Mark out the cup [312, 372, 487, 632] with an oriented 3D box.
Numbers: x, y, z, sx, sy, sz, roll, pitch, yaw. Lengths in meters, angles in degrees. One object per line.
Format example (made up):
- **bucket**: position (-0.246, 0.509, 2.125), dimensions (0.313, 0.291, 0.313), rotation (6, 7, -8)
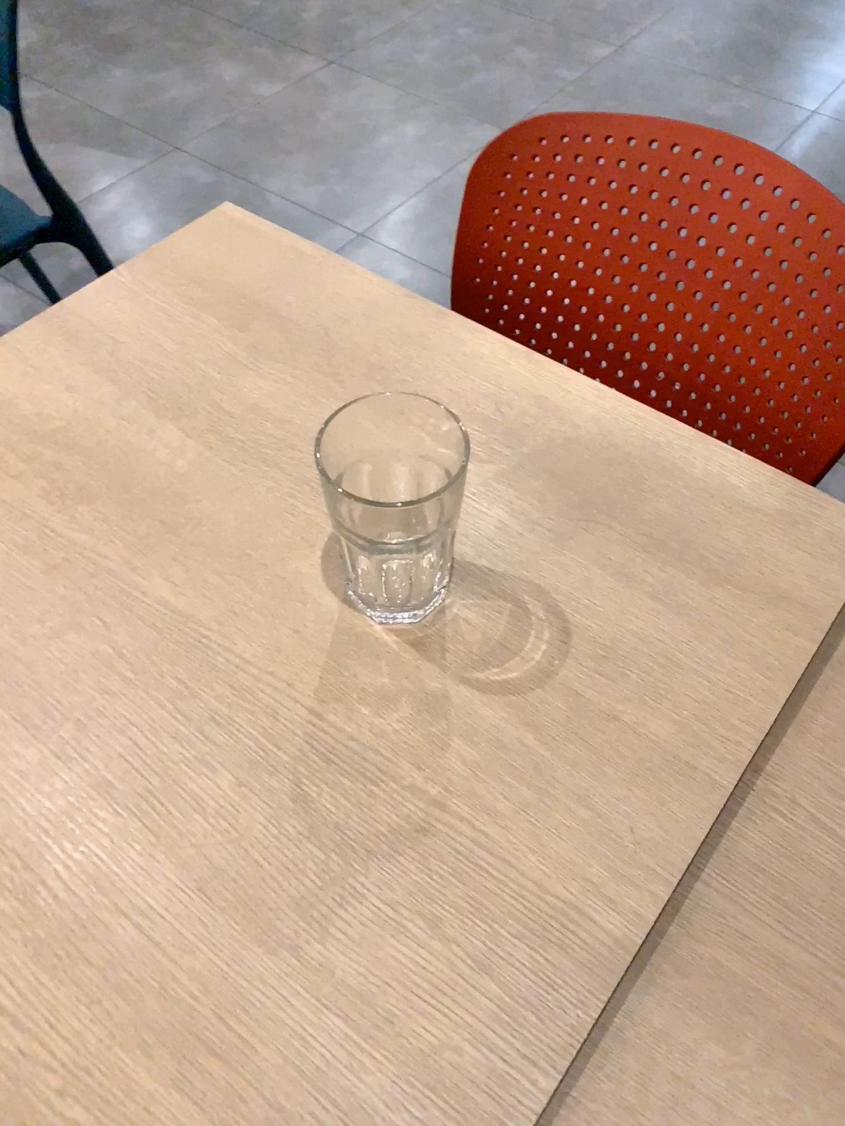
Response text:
- **cup**: position (-0.010, -0.031, 0.482), dimensions (0.080, 0.120, 0.080), rotation (1, 54, -1)
